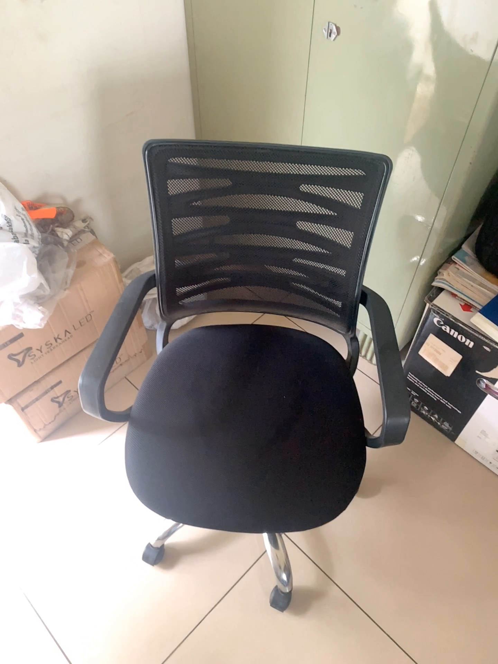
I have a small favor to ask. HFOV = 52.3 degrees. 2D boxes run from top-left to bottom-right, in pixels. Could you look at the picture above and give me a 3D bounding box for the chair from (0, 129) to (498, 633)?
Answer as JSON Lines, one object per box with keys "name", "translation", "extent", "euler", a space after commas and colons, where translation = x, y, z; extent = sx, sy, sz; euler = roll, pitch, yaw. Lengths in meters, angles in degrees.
{"name": "chair", "translation": [0.016, 0.195, 1.154], "extent": [0.680, 0.997, 0.652], "euler": [4, 51, 3]}
